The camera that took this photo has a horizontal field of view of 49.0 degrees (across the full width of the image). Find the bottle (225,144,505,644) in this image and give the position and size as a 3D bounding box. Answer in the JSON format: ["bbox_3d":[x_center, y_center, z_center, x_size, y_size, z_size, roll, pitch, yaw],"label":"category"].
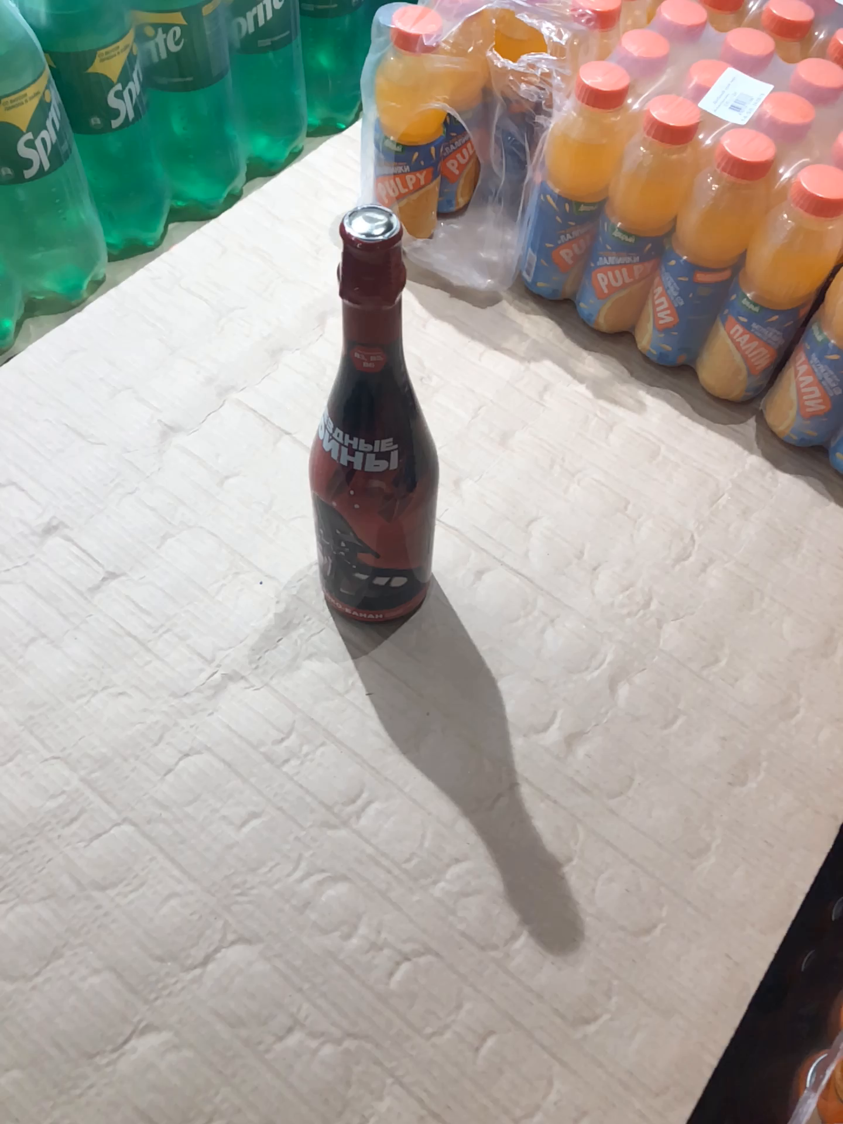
[{"bbox_3d":[-0.030,-0.070,0.516,0.086,0.279,0.085,1,59,-2],"label":"bottle"}]
